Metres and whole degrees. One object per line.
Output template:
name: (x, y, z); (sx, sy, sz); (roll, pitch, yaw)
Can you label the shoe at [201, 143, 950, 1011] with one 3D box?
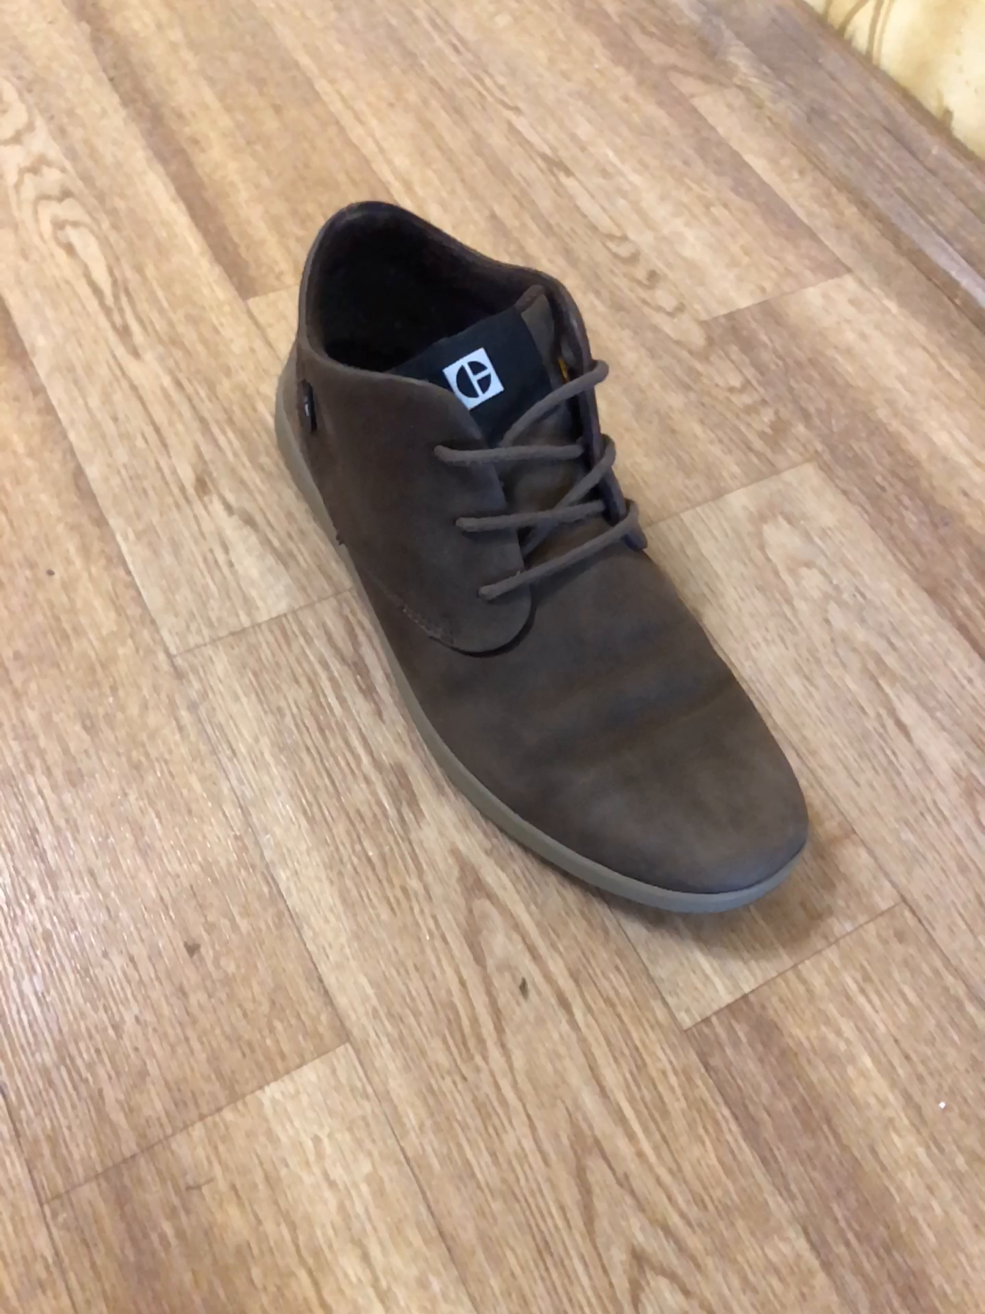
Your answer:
shoe: (0.007, -0.038, 0.369); (0.100, 0.100, 0.270); (-23, 65, -19)
